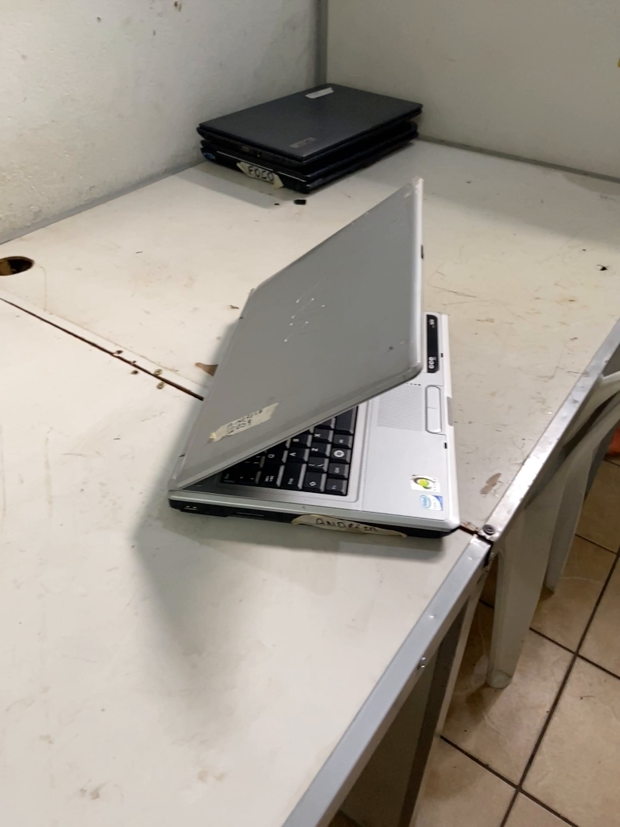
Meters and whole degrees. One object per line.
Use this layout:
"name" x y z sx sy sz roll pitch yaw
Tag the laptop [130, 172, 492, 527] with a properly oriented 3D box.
"laptop" 0.020 -0.086 0.599 0.242 0.153 0.337 5 40 6
